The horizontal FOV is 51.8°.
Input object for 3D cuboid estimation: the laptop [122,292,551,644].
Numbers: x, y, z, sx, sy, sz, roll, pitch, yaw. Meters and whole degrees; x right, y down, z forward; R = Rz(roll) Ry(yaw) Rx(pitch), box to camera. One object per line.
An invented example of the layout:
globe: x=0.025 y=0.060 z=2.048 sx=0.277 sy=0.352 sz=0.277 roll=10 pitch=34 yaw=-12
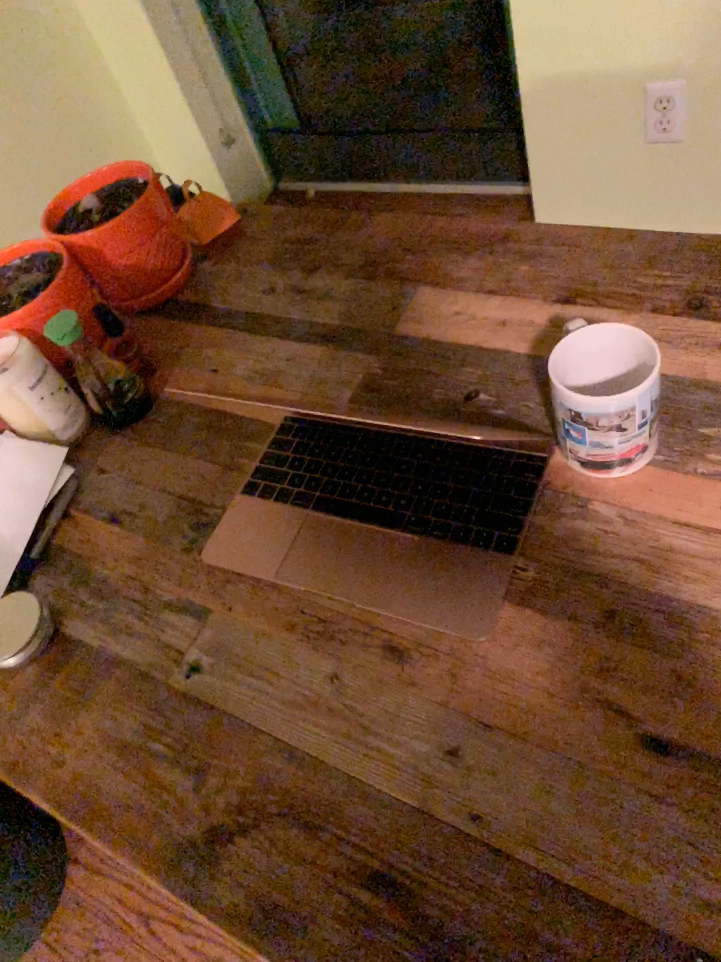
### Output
laptop: x=-0.010 y=-0.024 z=0.616 sx=0.279 sy=0.145 sz=0.194 roll=12 pitch=59 yaw=27
